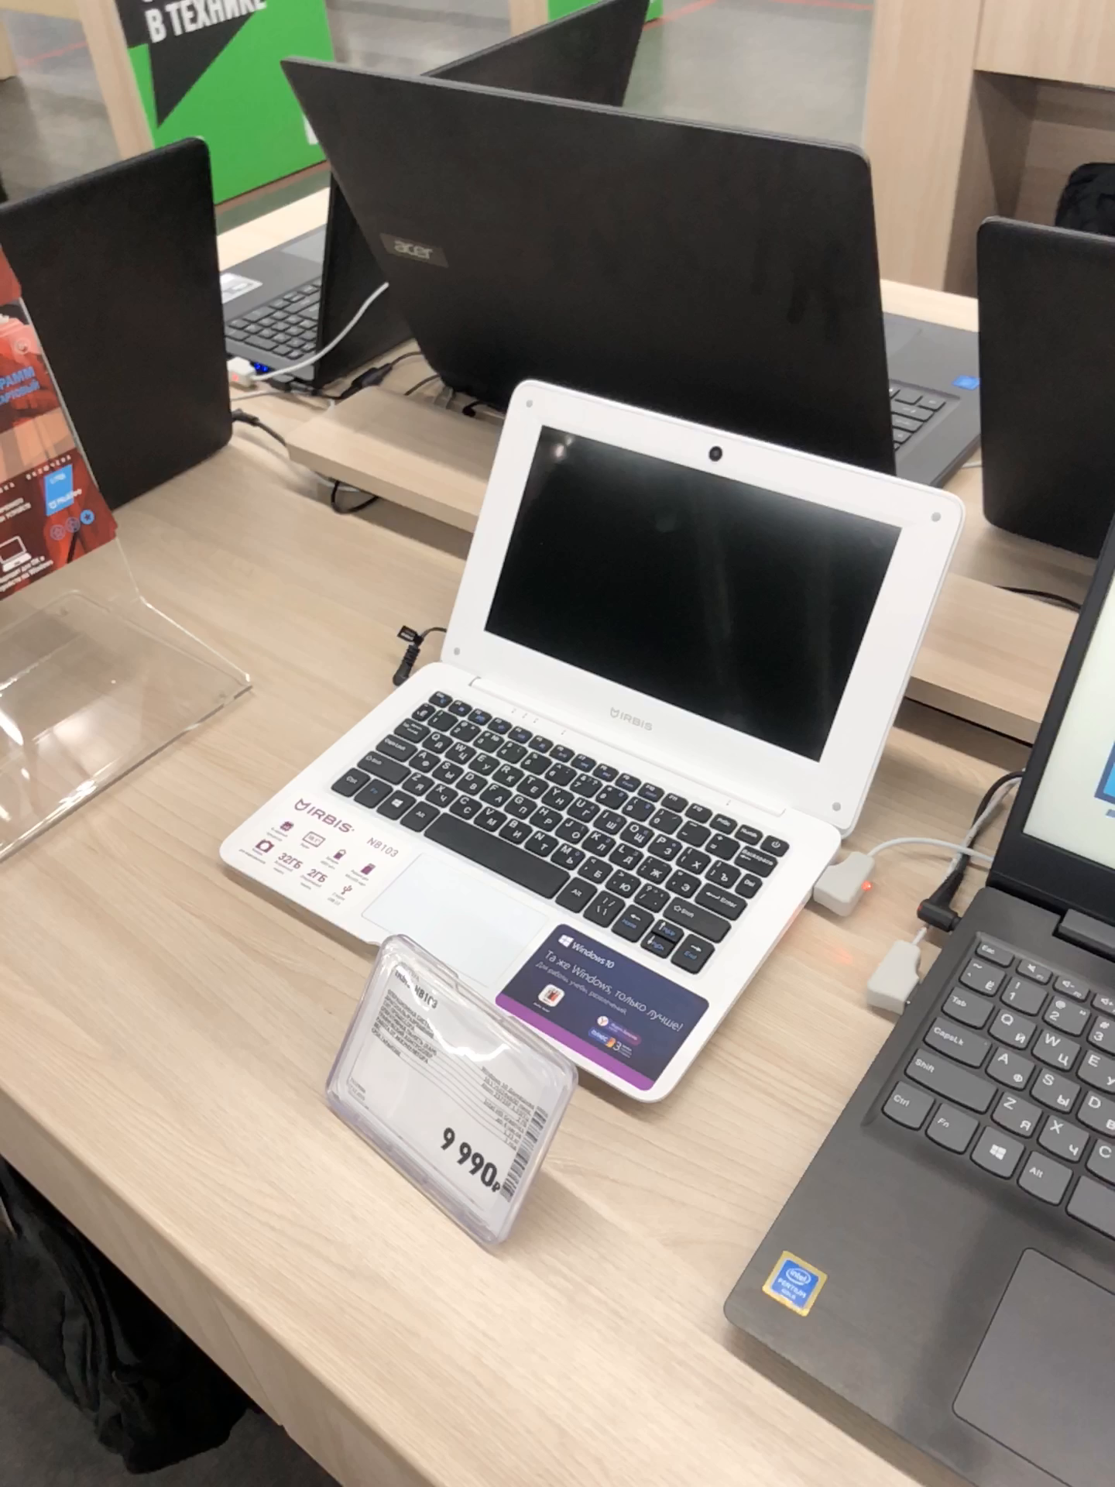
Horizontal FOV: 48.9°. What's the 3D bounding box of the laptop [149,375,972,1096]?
[{"bbox_3d":[0.012,-0.037,0.679,0.296,0.144,0.318,23,51,29],"label":"laptop"}]
